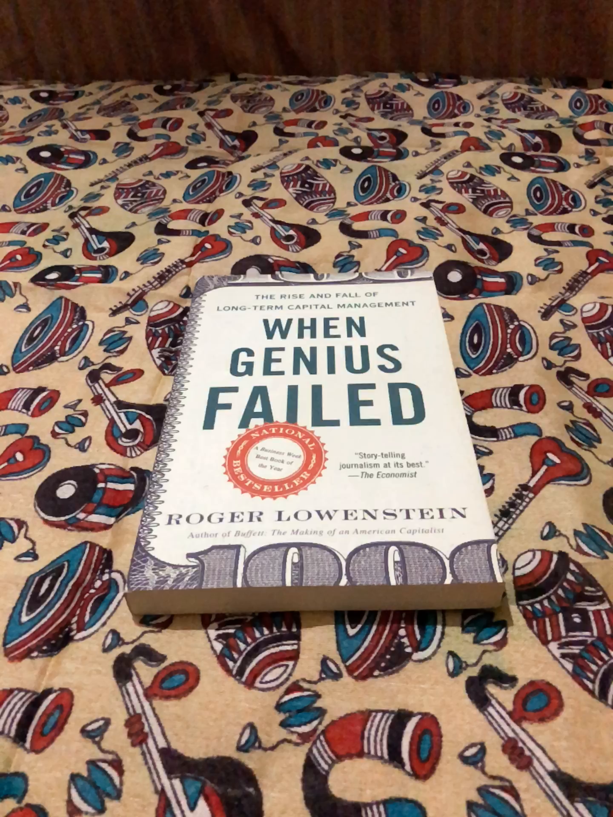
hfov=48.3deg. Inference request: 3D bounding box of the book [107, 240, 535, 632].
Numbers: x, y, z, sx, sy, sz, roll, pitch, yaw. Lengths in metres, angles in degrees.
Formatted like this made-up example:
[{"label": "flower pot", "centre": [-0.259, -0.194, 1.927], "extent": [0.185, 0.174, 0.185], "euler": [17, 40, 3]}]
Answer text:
[{"label": "book", "centre": [0.005, -0.007, 0.314], "extent": [0.140, 0.030, 0.221], "euler": [0, 44, 1]}]
